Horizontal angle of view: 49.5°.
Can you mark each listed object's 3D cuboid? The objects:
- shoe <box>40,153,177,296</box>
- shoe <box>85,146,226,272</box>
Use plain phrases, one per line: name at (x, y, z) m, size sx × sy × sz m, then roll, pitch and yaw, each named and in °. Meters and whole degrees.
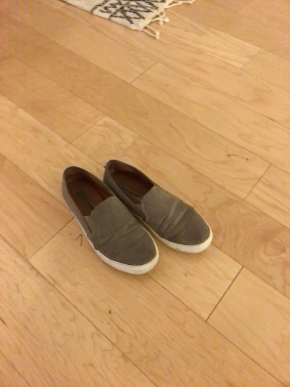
shoe at (-0.079, 0.048, 0.625) m, size 0.120 × 0.050 × 0.281 m, roll -36°, pitch 63°, yaw -20°
shoe at (0.014, 0.021, 0.648) m, size 0.280 × 0.050 × 0.110 m, roll 38°, pitch 65°, yaw 22°
